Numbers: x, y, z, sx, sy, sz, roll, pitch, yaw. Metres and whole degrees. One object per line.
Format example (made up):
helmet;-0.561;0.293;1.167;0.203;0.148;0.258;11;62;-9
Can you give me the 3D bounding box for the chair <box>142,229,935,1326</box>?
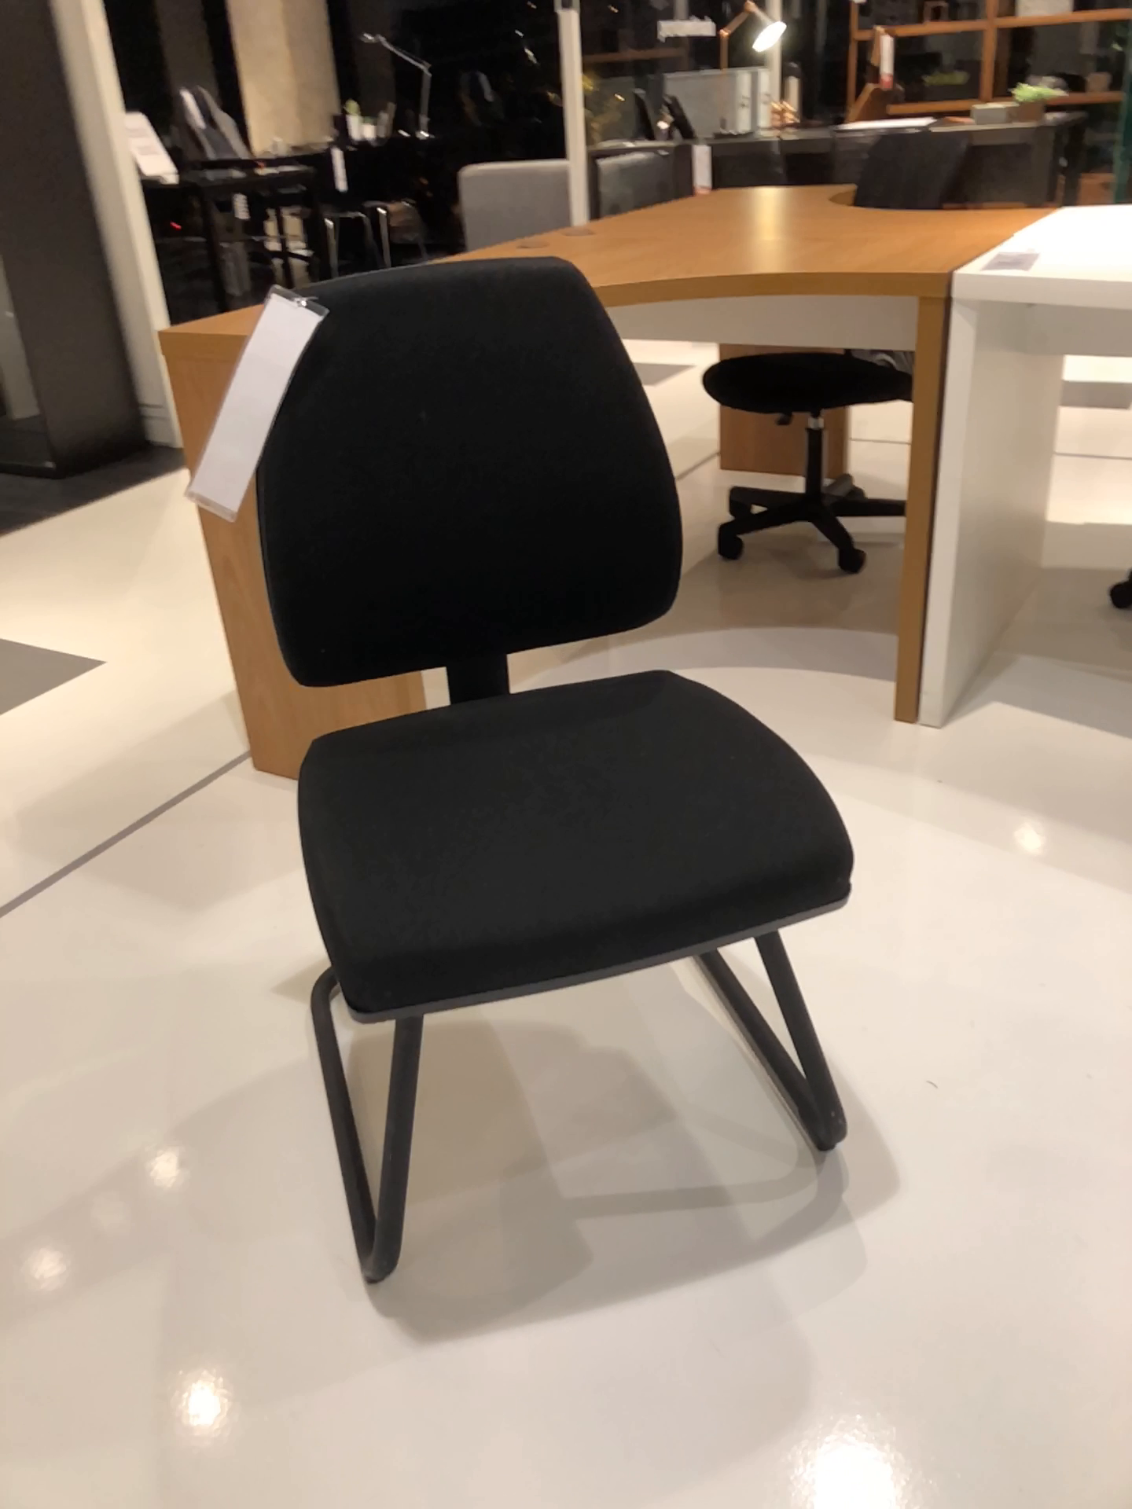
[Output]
chair;-0.049;-0.023;1.277;0.550;0.874;0.564;-12;29;-14
